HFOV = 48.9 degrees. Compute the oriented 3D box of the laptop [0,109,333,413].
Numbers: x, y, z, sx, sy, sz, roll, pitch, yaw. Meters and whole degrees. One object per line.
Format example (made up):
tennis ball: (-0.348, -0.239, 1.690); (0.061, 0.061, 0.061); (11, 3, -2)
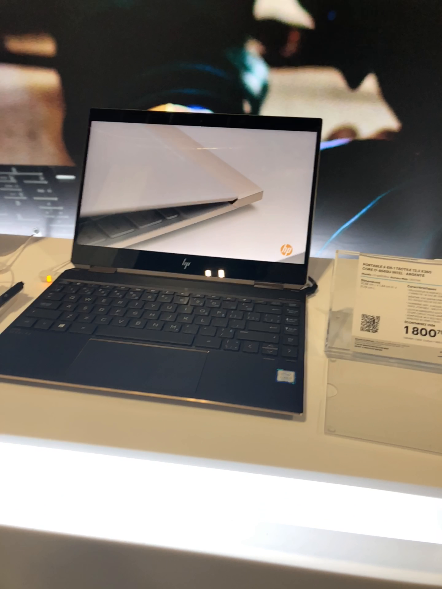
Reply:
laptop: (-0.049, -0.076, 0.523); (0.305, 0.172, 0.347); (5, 30, 8)
